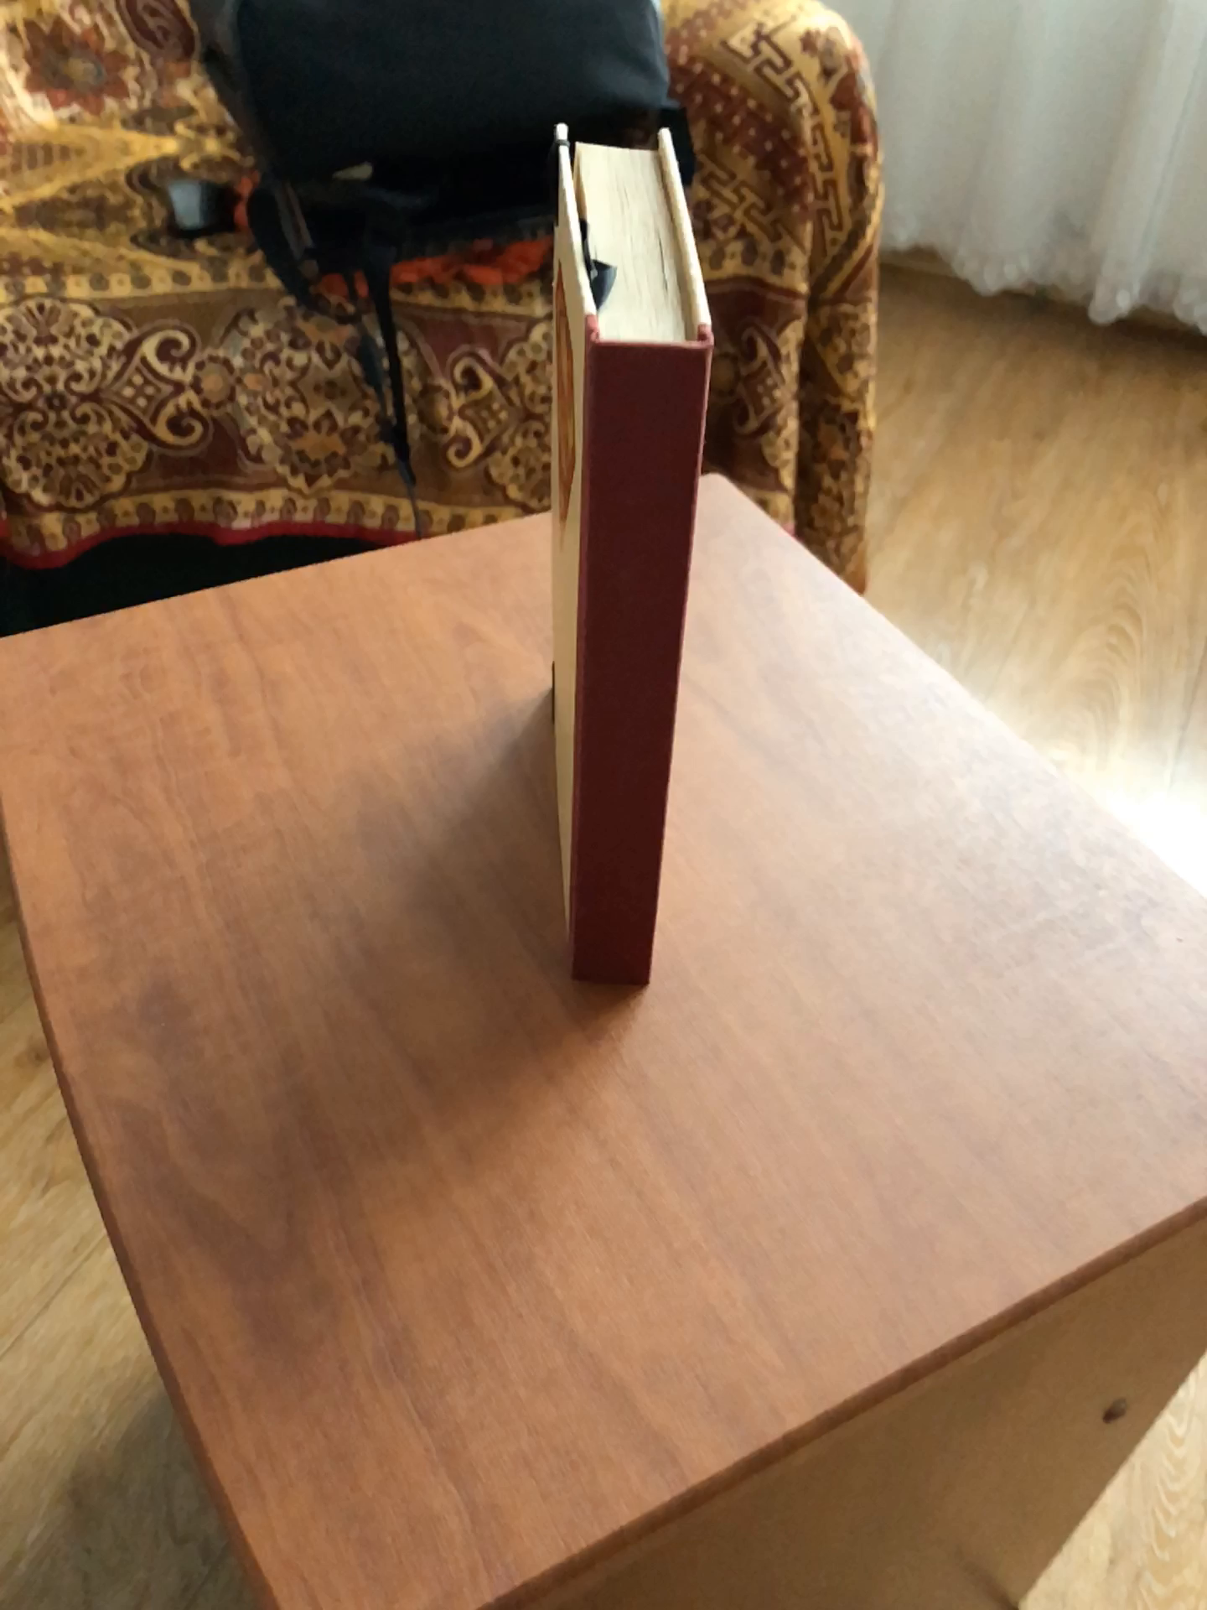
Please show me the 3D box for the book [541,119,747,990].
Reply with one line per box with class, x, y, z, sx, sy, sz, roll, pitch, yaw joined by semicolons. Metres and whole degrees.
book;0.002;-0.073;0.404;0.041;0.203;0.163;0;43;-3
